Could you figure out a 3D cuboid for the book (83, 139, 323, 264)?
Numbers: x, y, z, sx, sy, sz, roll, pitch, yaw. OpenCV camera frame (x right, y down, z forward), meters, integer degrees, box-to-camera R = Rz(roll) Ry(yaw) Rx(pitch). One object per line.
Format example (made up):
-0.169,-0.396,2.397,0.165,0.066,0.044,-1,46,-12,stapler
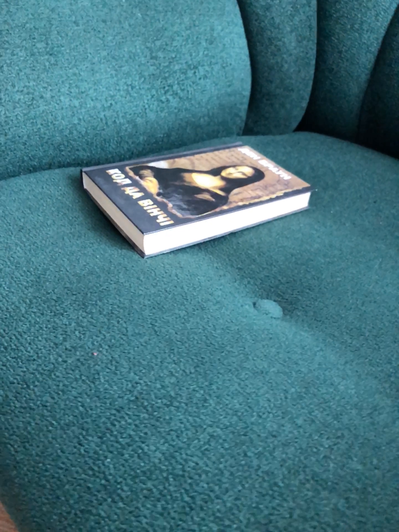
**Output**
0.004,-0.080,0.464,0.210,0.030,0.135,-19,44,-29,book
